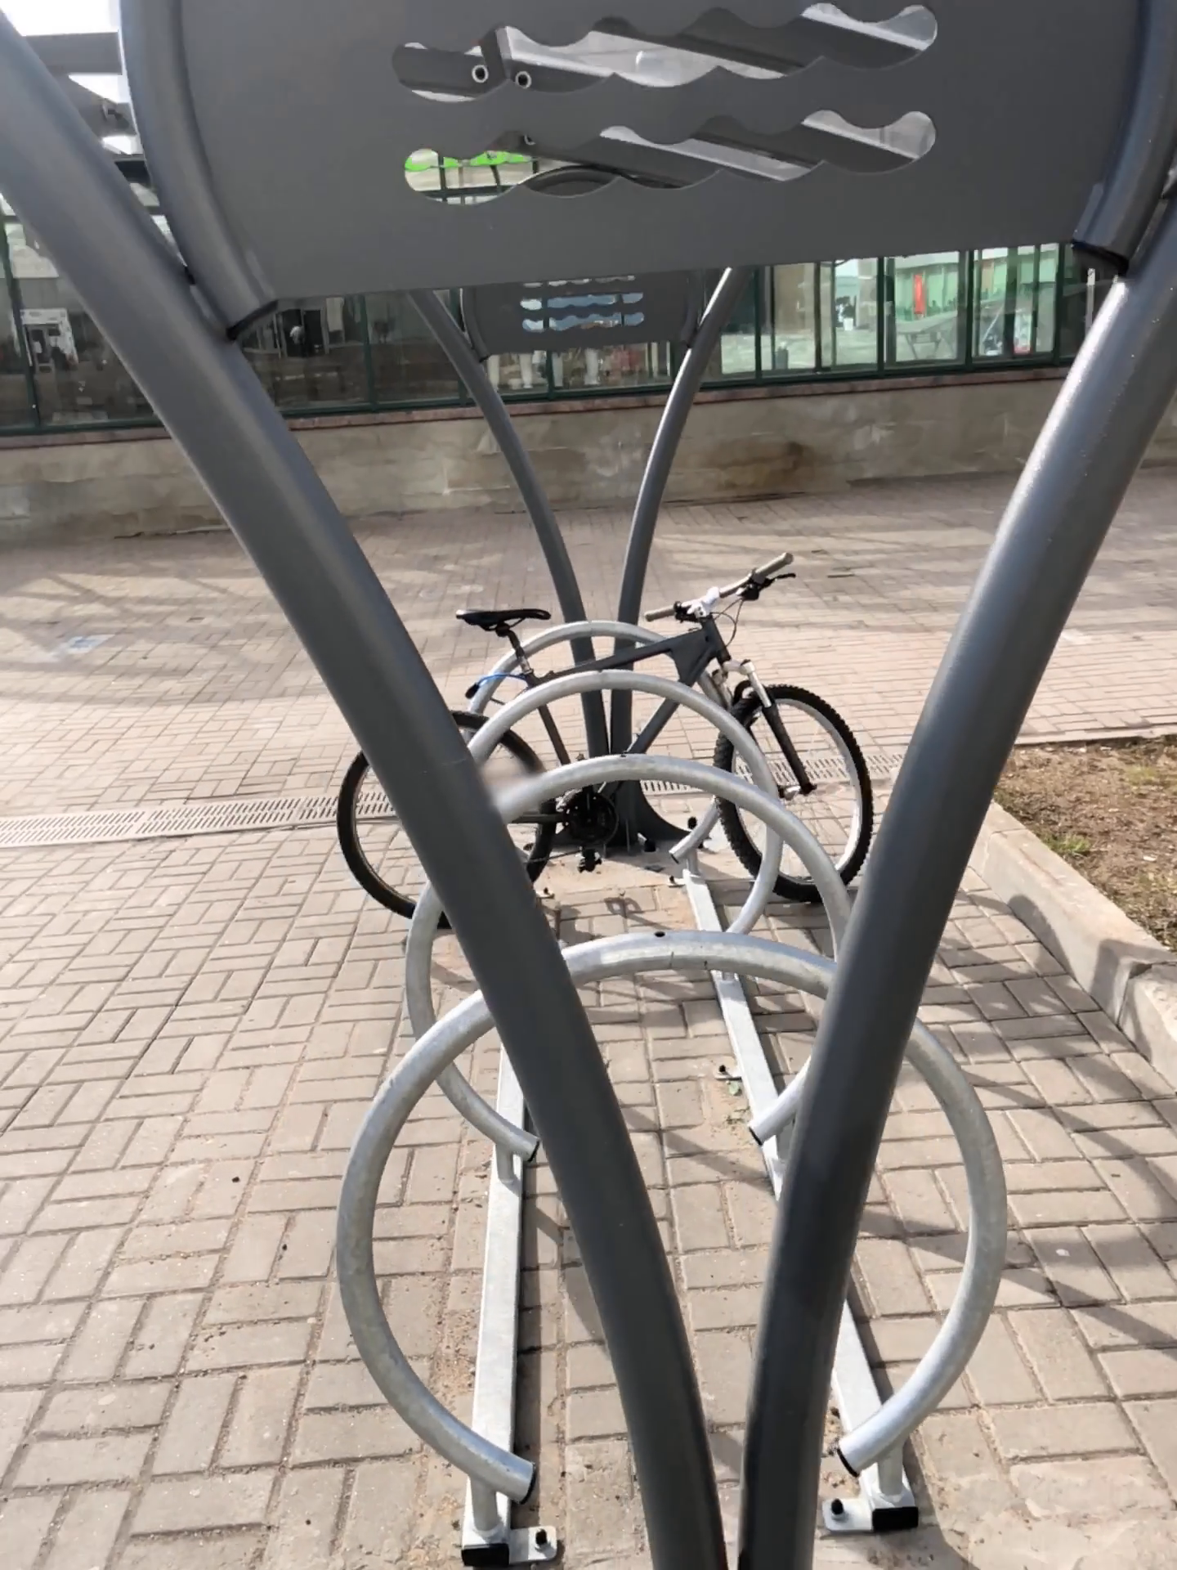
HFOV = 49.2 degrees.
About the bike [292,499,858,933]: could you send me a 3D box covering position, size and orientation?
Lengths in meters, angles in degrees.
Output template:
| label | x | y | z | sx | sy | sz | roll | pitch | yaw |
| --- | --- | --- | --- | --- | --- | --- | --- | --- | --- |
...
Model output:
| label | x | y | z | sx | sy | sz | roll | pitch | yaw |
| --- | --- | --- | --- | --- | --- | --- | --- | --- | --- |
| bike | 0.030 | -0.260 | 3.982 | 1.611 | 0.981 | 0.563 | -8 | 18 | -9 |
